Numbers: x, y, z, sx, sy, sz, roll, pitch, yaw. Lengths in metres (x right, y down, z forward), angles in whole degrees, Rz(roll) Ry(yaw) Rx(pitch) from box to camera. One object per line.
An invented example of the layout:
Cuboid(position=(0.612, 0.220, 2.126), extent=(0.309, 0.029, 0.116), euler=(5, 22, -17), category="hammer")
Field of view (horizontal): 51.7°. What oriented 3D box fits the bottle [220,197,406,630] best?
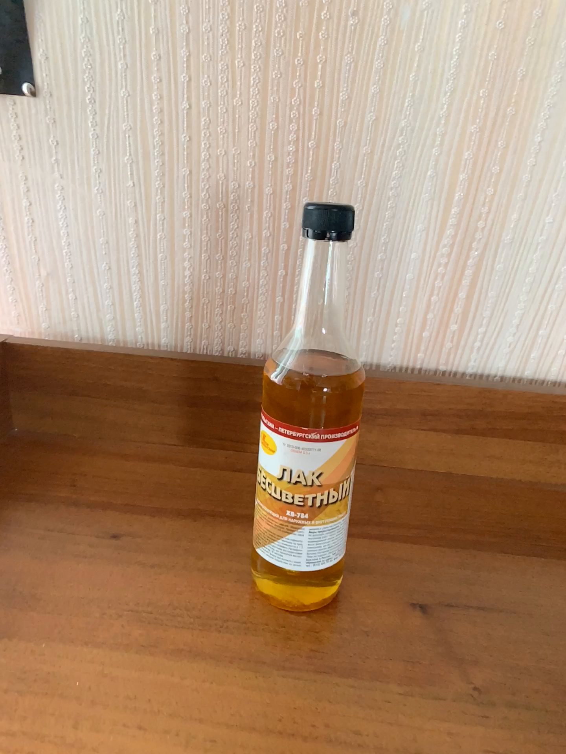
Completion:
Cuboid(position=(0.015, 0.024, 0.373), extent=(0.080, 0.258, 0.070), euler=(8, 18, 6), category="bottle")
